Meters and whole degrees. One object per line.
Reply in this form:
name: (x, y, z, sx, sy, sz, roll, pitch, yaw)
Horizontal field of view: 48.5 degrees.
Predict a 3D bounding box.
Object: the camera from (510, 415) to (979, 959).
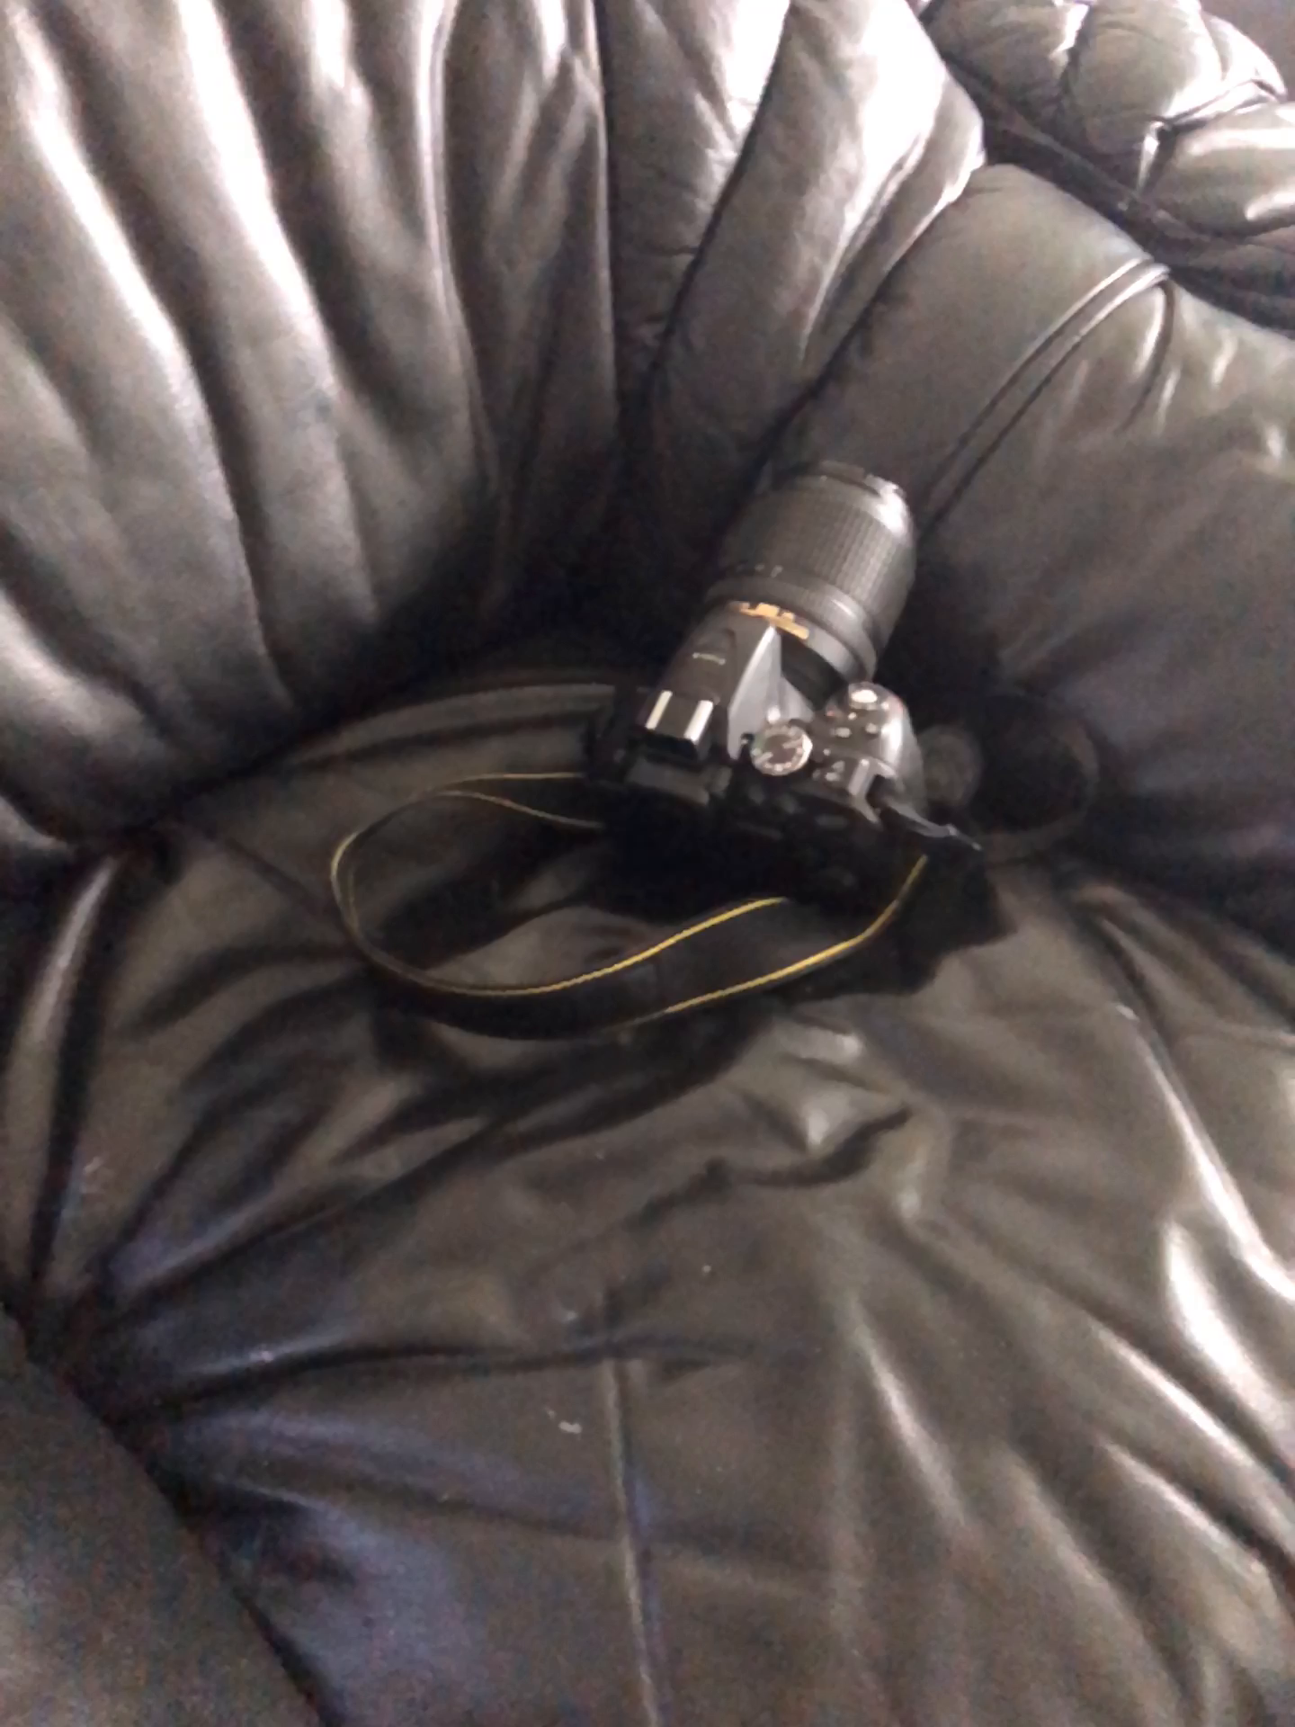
camera: (0.051, -0.078, 0.641, 0.140, 0.130, 0.170, 17, 66, 17)
